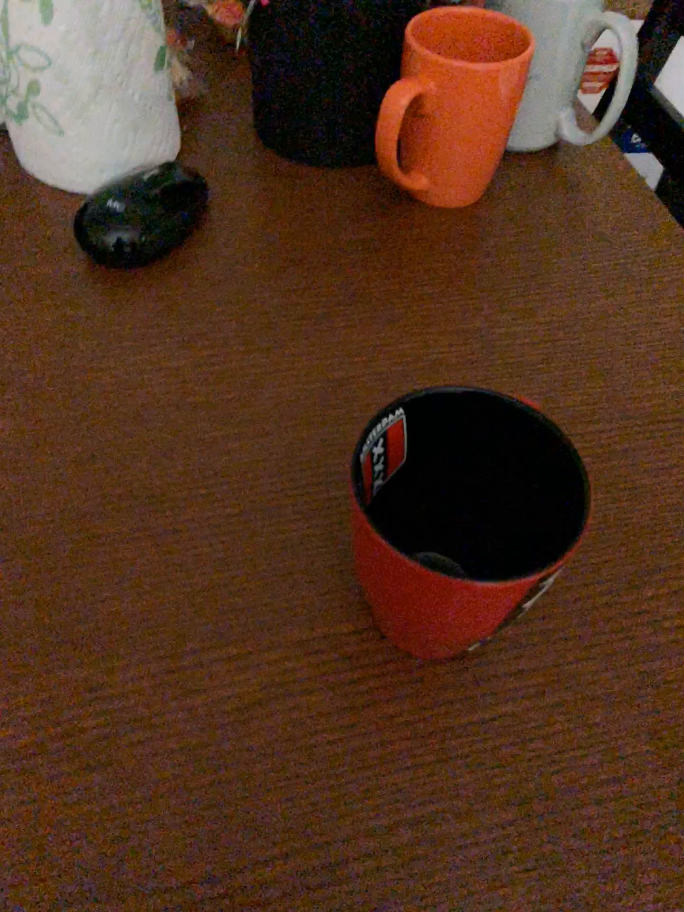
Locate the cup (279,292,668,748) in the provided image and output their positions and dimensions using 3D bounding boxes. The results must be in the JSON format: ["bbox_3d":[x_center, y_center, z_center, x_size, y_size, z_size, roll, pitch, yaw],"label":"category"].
[{"bbox_3d":[0.050,0.024,0.289,0.090,0.100,0.130,28,57,17],"label":"cup"}]
